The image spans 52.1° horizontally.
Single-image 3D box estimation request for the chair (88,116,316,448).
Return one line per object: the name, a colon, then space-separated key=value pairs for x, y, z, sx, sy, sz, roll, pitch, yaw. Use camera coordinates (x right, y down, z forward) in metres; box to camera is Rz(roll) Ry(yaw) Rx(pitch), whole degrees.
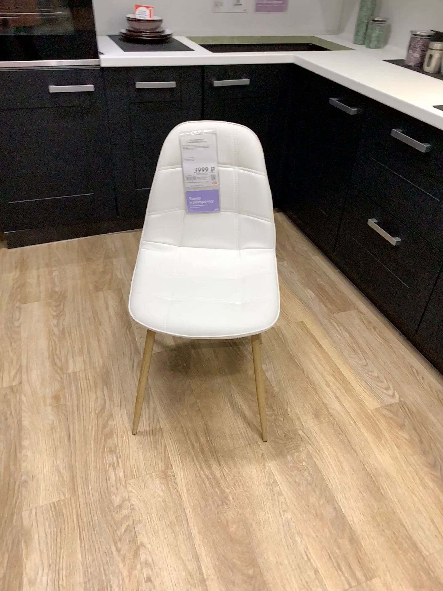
chair: x=-0.047 y=-0.034 z=1.409 sx=0.470 sy=0.825 sz=0.573 roll=3 pitch=37 yaw=0
